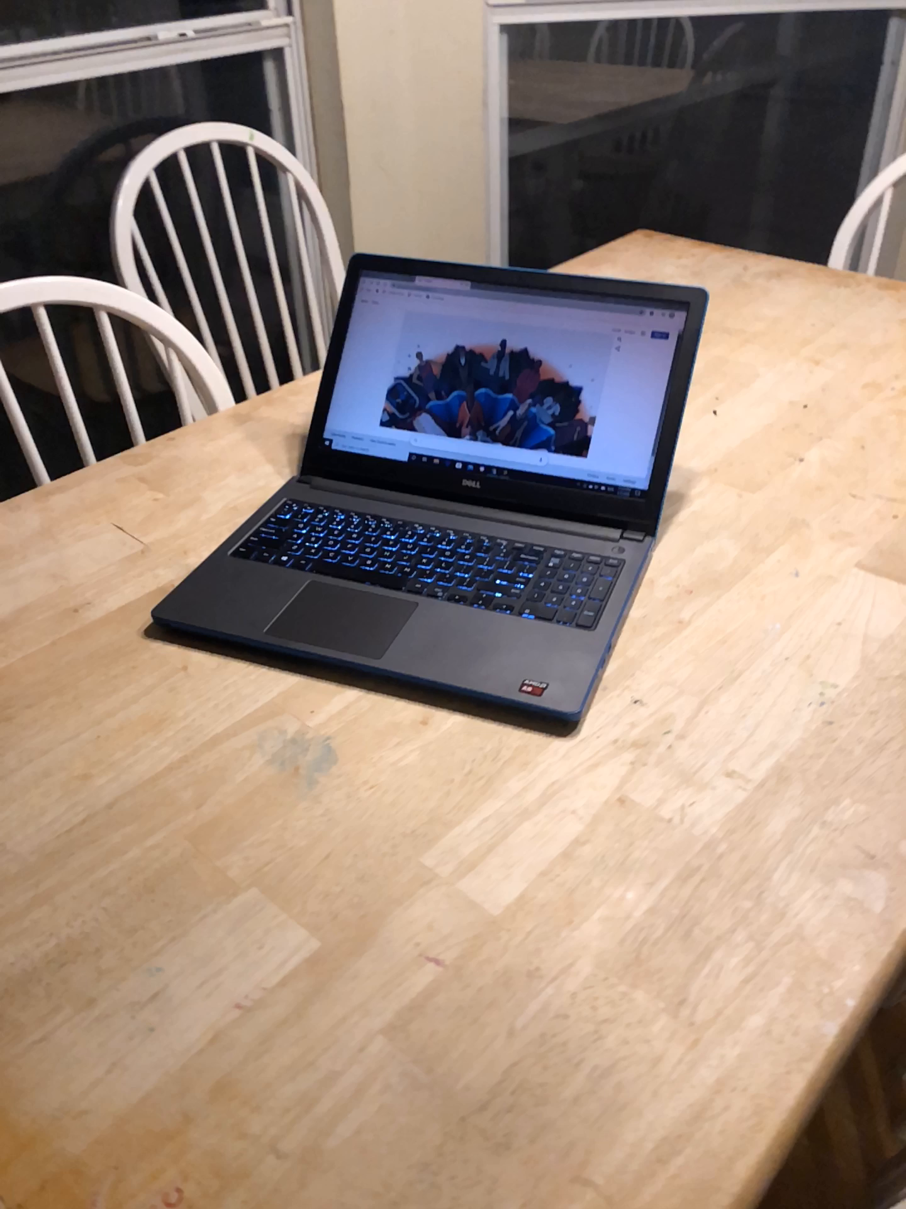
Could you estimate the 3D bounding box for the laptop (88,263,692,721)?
[{"bbox_3d":[-0.019,-0.138,0.876,0.367,0.174,0.420,11,37,18],"label":"laptop"}]
